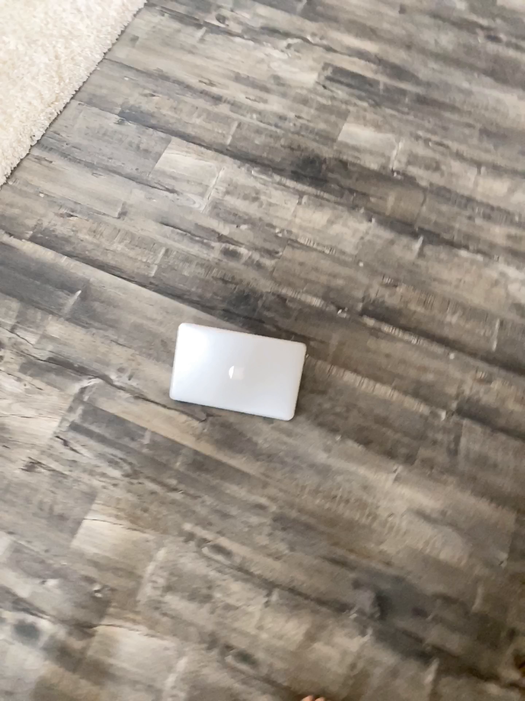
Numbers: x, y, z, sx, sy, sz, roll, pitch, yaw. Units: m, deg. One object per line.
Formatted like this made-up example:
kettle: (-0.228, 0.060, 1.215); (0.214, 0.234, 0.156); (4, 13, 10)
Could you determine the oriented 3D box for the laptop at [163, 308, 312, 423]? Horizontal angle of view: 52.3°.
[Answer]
laptop: (-0.050, 0.033, 1.138); (0.270, 0.113, 0.173); (10, 67, 3)
